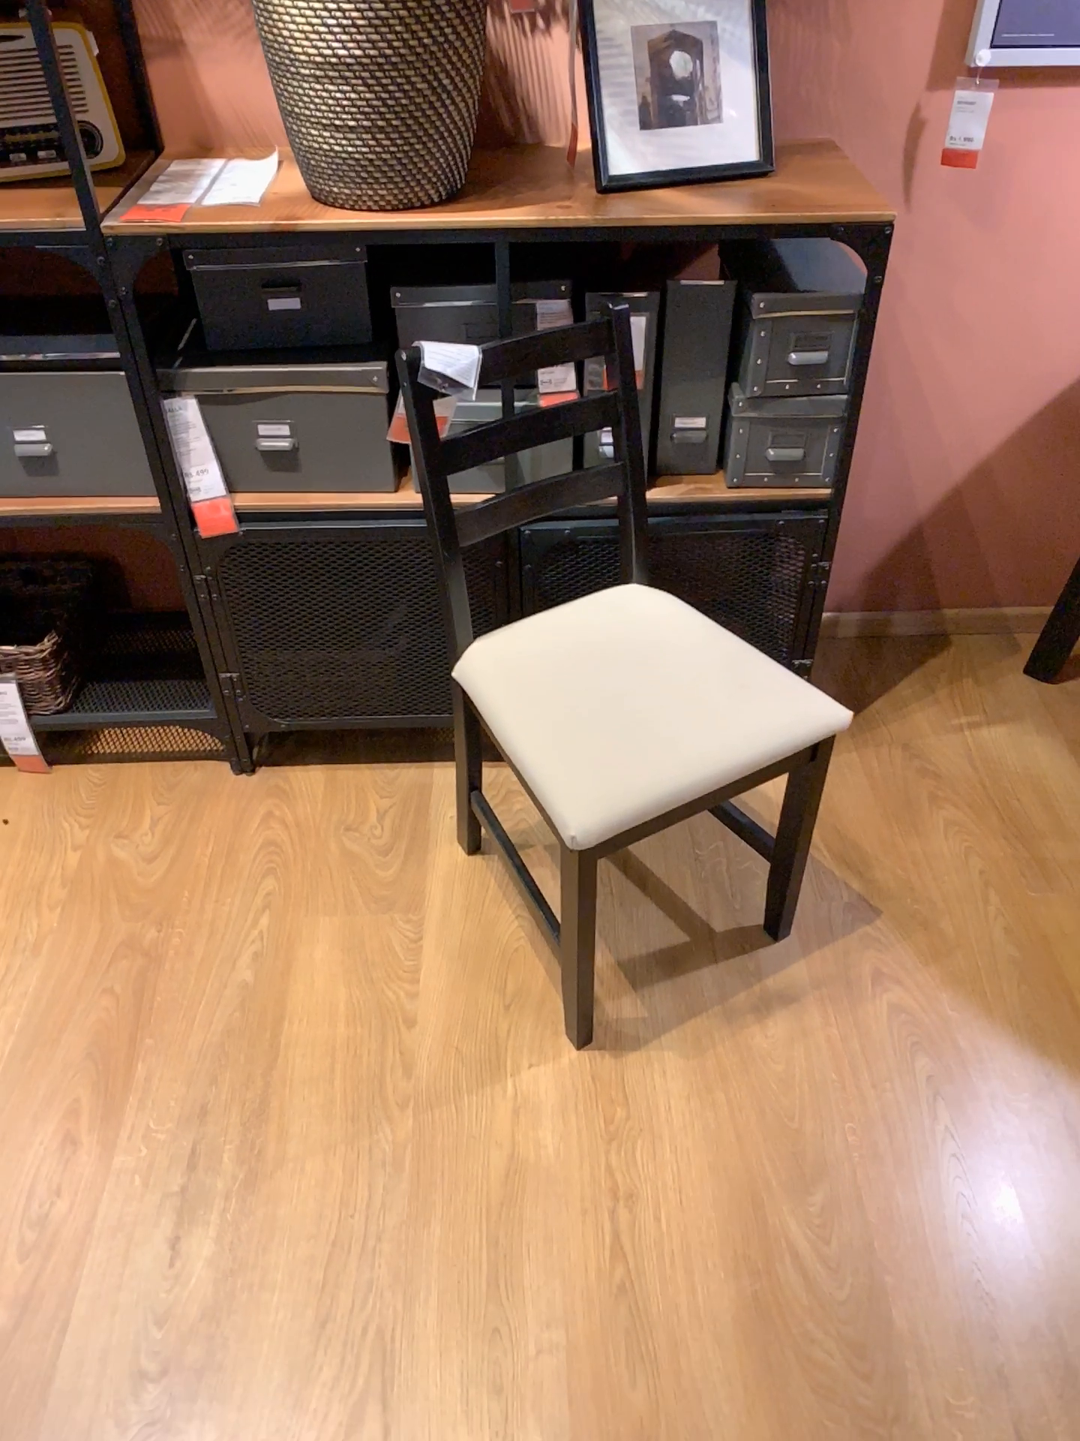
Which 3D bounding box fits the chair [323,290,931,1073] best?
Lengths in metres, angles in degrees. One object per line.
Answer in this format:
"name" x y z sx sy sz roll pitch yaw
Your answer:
"chair" 0.074 -0.053 1.447 0.430 0.767 0.542 -22 45 -22
